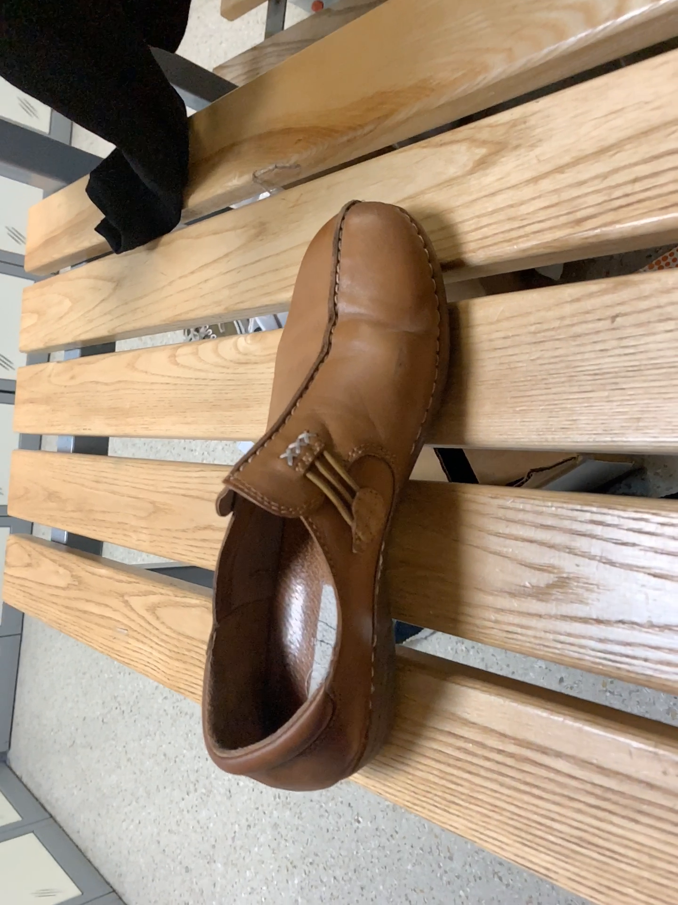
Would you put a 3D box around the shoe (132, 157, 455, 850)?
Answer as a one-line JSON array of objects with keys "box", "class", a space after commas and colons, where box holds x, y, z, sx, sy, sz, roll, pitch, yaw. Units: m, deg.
[{"box": [-0.021, 0.018, 0.315, 0.112, 0.085, 0.245, -2, 84, 46], "class": "shoe"}]
